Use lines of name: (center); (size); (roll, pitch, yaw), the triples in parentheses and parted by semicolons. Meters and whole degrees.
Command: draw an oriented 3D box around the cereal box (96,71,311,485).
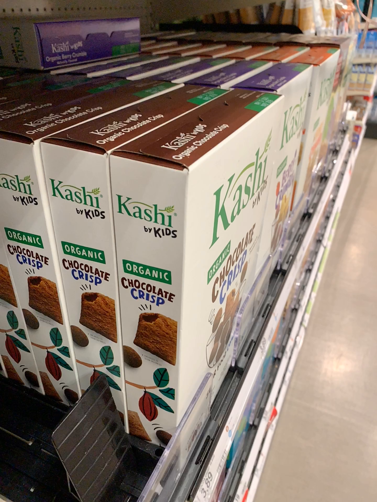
cereal box: (0.025, 0.013, 0.313); (0.060, 0.259, 0.201); (15, 35, 20)
